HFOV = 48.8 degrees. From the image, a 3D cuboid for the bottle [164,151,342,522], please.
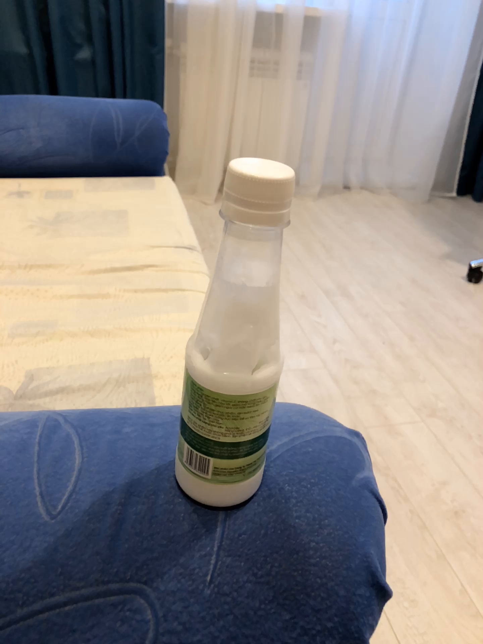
[{"bbox_3d":[-0.003,0.013,0.273,0.054,0.183,0.051,6,29,-3],"label":"bottle"}]
